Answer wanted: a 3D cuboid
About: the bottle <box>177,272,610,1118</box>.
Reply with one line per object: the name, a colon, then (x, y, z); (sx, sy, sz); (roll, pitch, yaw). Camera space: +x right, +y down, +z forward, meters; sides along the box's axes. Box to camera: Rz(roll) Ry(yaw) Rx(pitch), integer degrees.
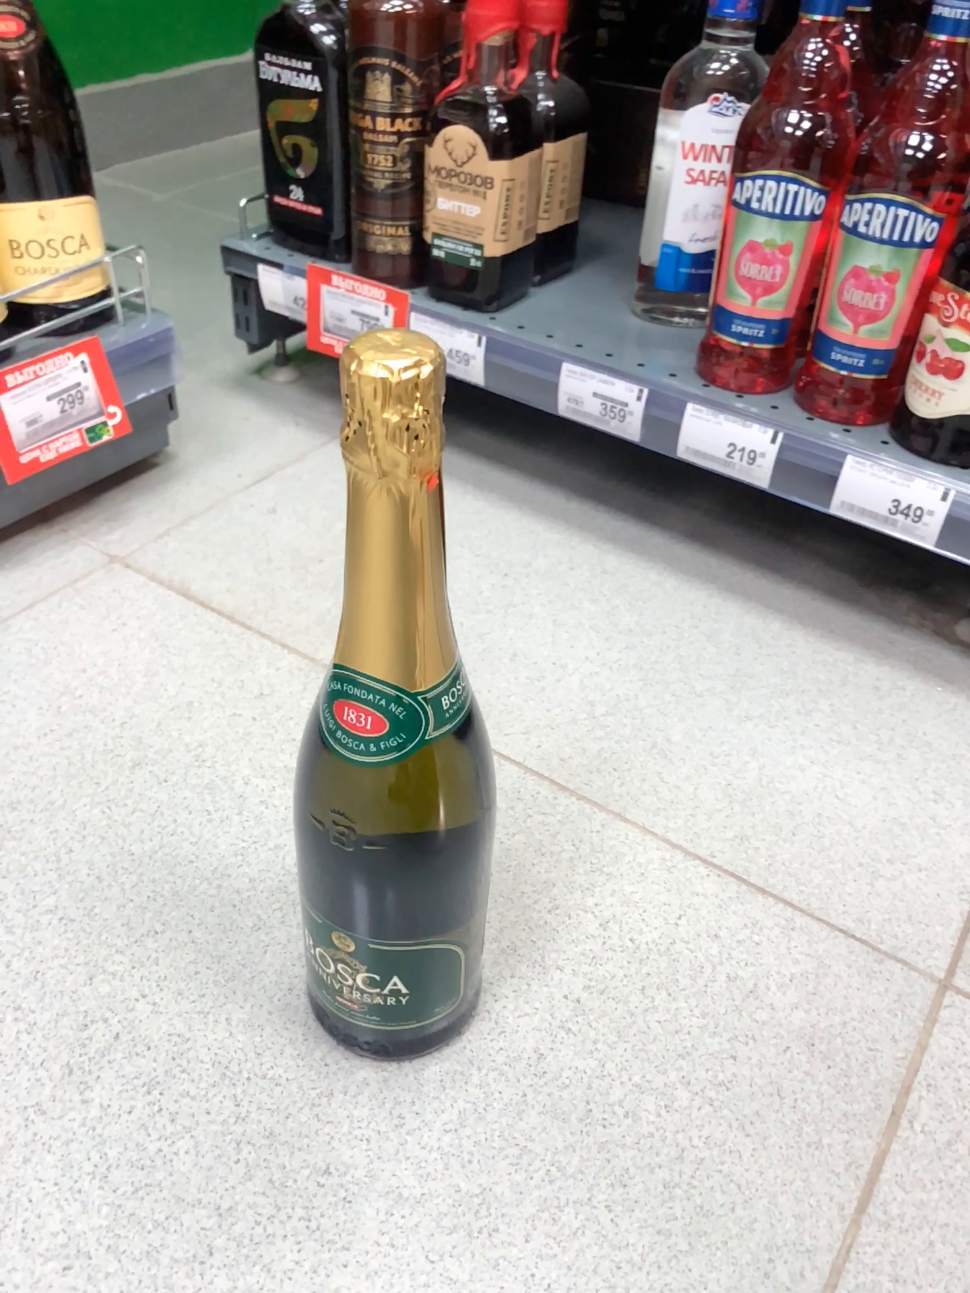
bottle: (-0.033, 0.037, 0.406); (0.090, 0.314, 0.090); (3, 38, -2)
